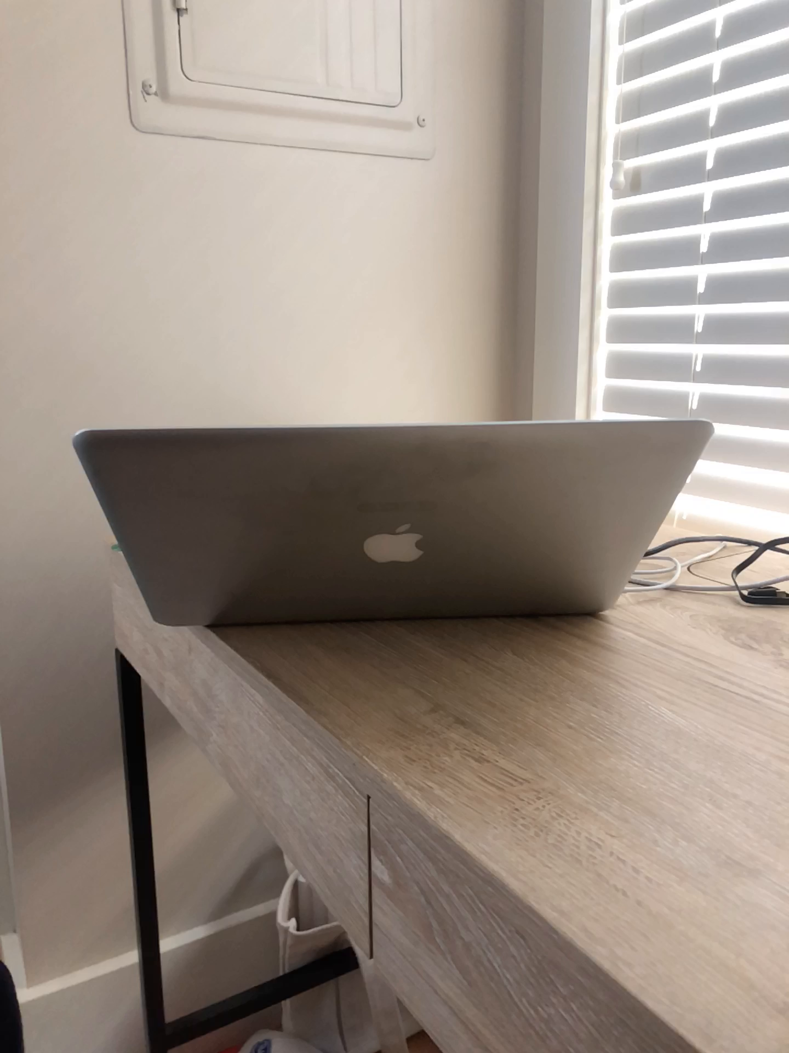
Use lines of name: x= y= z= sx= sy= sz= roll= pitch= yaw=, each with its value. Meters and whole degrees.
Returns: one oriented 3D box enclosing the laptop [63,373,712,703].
laptop: x=-0.013 y=-0.023 z=0.607 sx=0.319 sy=0.133 sz=0.347 roll=-2 pitch=14 yaw=-4
